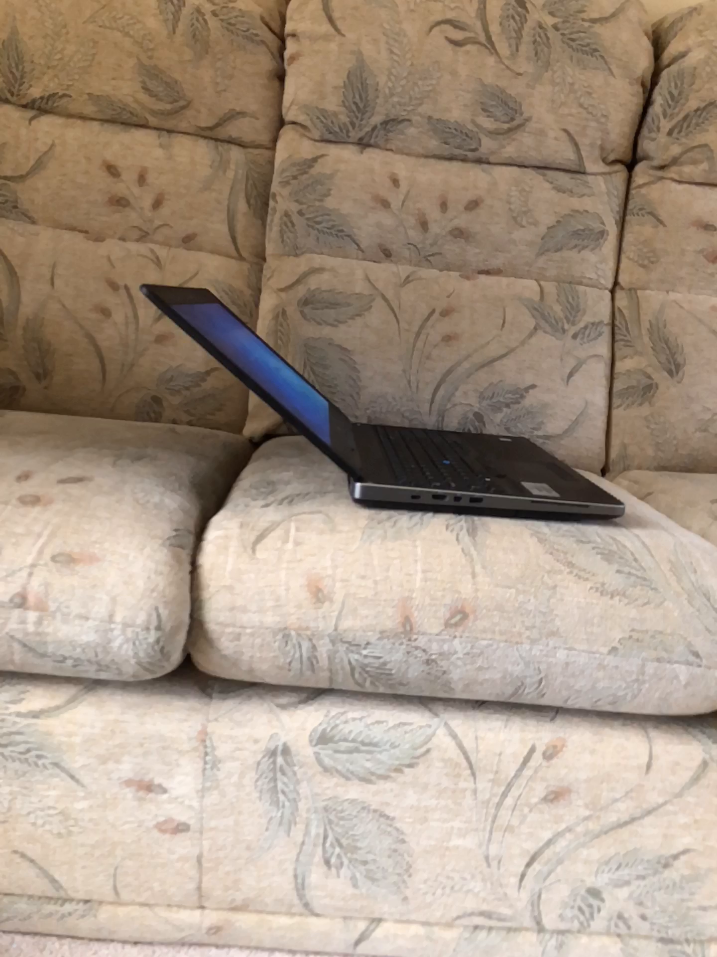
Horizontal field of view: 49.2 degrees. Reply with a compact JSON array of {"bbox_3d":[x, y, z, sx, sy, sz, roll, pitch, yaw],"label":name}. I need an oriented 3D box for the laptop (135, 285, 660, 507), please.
[{"bbox_3d":[0.021,-0.110,0.868,0.451,0.157,0.356,5,15,-3],"label":"laptop"}]
